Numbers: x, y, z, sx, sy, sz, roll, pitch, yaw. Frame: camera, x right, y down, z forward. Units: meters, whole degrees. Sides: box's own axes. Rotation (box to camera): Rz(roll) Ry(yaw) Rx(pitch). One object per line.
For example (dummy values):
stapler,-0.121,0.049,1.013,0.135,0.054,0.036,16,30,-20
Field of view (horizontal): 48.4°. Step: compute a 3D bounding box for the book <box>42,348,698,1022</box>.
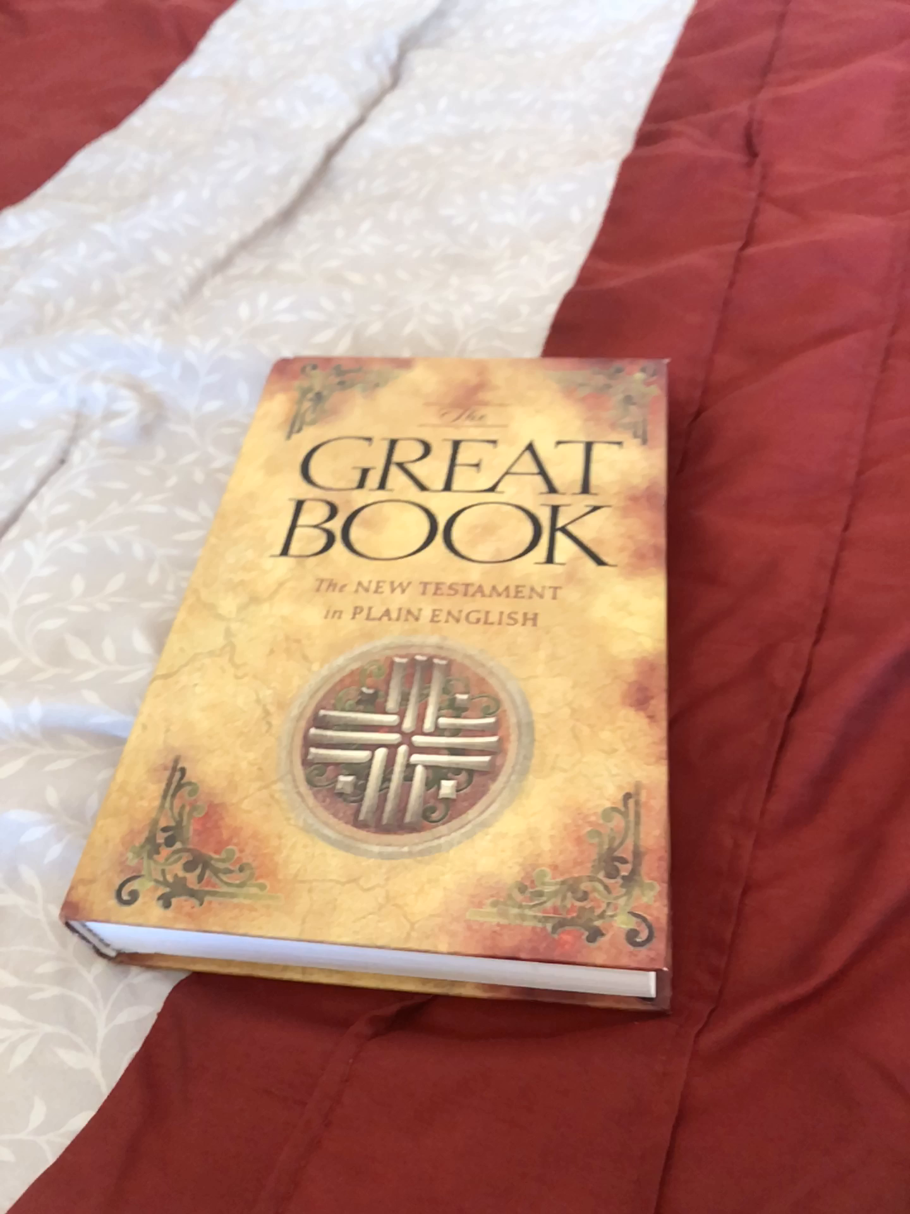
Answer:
book,-0.009,0.005,0.324,0.161,0.040,0.221,1,52,10
